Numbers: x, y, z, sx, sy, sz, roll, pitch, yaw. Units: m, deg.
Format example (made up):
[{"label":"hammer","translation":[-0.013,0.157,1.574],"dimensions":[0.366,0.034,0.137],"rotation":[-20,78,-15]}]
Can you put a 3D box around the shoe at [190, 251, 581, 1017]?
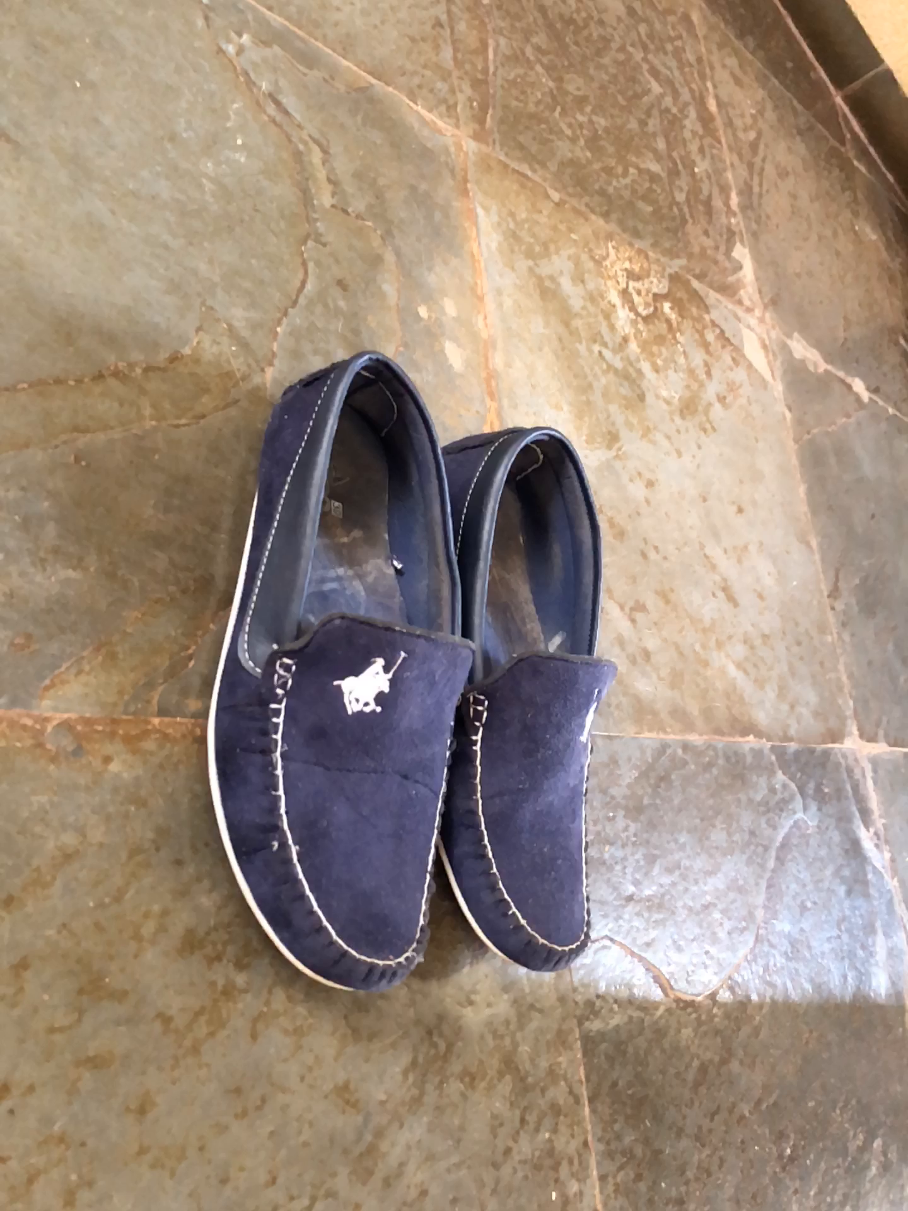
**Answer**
[{"label":"shoe","translation":[-0.033,0.014,0.390],"dimensions":[0.101,0.089,0.261],"rotation":[12,66,-43]}]

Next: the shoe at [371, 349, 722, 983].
[{"label":"shoe","translation":[0.037,0.030,0.465],"dimensions":[0.101,0.089,0.261],"rotation":[12,66,-43]}]
